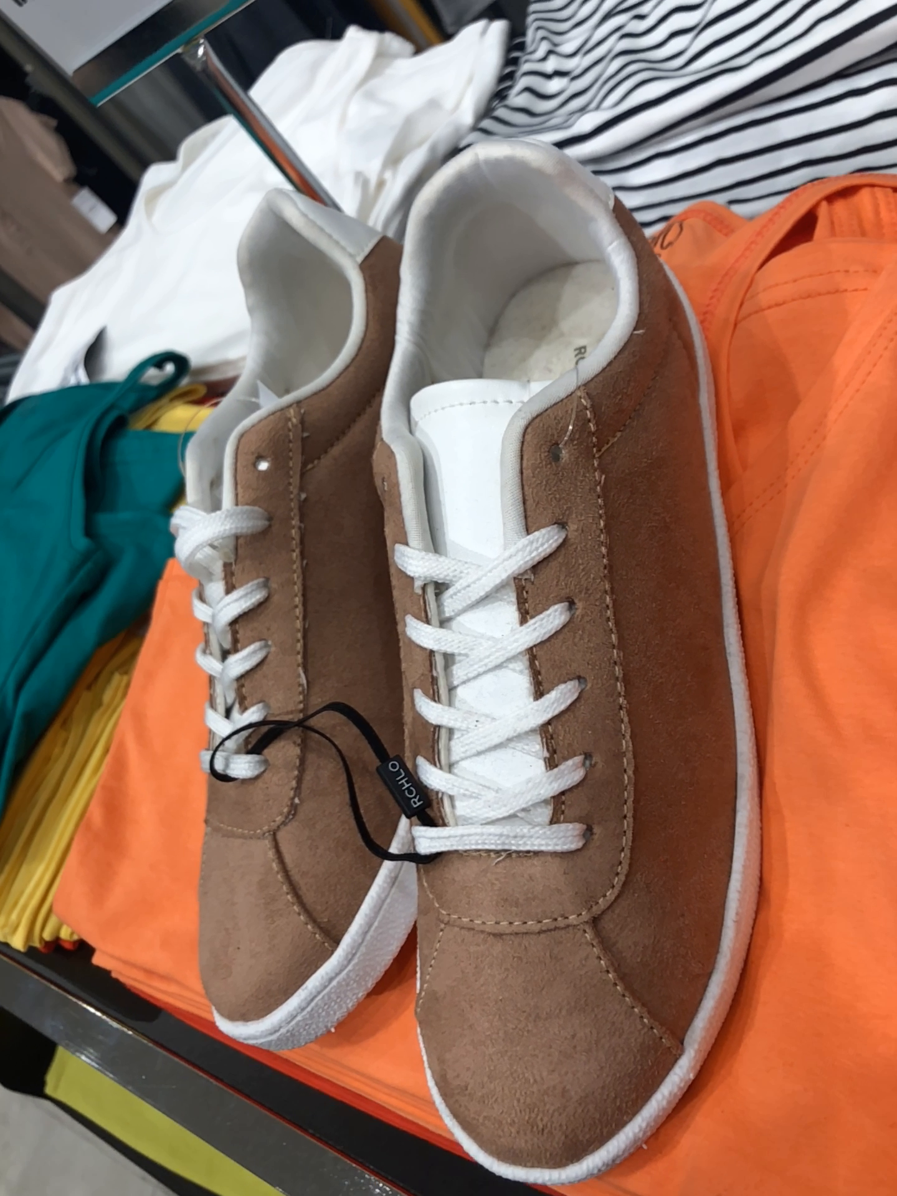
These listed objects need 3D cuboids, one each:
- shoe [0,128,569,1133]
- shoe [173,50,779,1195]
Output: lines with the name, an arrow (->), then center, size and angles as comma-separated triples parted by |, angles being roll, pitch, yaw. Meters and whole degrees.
shoe -> -0.043, 0.008, 0.304 | 0.090, 0.099, 0.251 | -5, 69, 40
shoe -> 0.022, 0.010, 0.258 | 0.090, 0.099, 0.251 | -9, 66, 38
